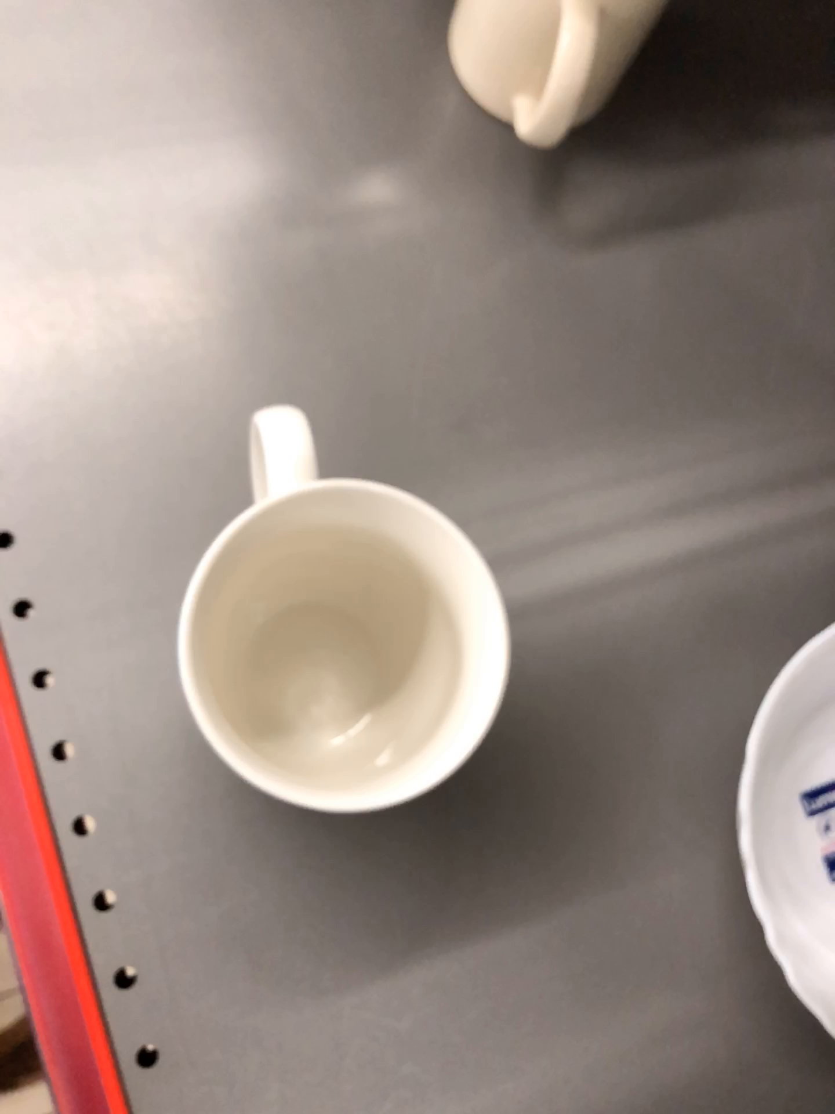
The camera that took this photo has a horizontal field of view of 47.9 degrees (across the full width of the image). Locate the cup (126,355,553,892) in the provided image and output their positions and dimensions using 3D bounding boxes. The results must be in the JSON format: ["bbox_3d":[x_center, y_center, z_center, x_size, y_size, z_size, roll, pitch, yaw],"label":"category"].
[{"bbox_3d":[-0.028,0.021,0.284,0.083,0.099,0.120,-12,81,-12],"label":"cup"}]
